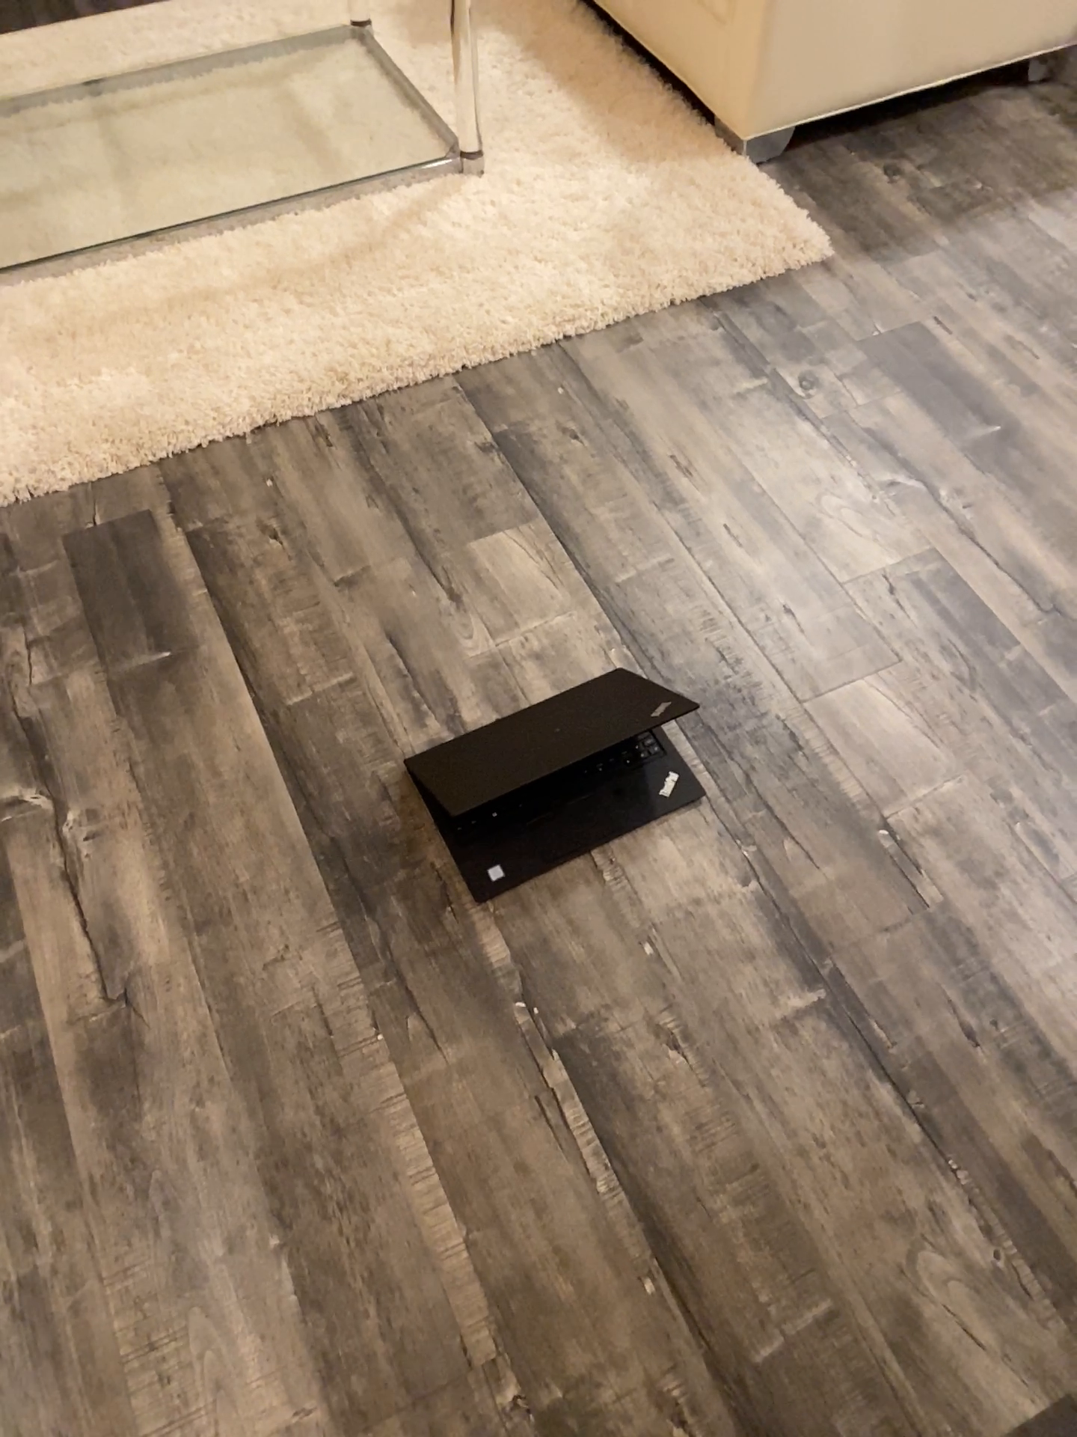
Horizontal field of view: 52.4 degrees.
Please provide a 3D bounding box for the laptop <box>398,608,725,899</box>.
[{"bbox_3d":[0.024,0.037,1.328,0.315,0.124,0.219,-23,59,-16],"label":"laptop"}]
